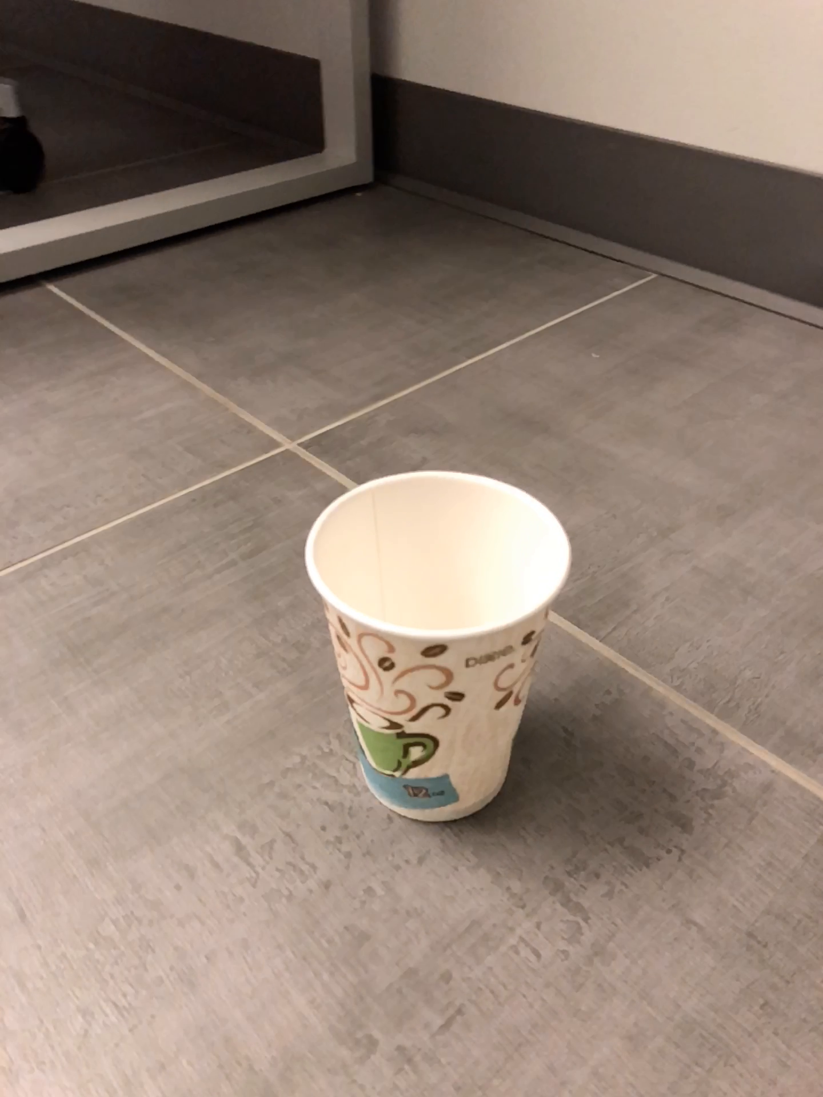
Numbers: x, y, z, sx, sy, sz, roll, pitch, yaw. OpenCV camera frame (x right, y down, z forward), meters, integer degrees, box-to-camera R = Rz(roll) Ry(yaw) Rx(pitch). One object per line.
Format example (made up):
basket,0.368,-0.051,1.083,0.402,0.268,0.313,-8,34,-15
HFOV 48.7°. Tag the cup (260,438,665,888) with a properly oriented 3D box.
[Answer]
cup,0.015,0.037,0.330,0.100,0.100,0.090,-21,43,-24
